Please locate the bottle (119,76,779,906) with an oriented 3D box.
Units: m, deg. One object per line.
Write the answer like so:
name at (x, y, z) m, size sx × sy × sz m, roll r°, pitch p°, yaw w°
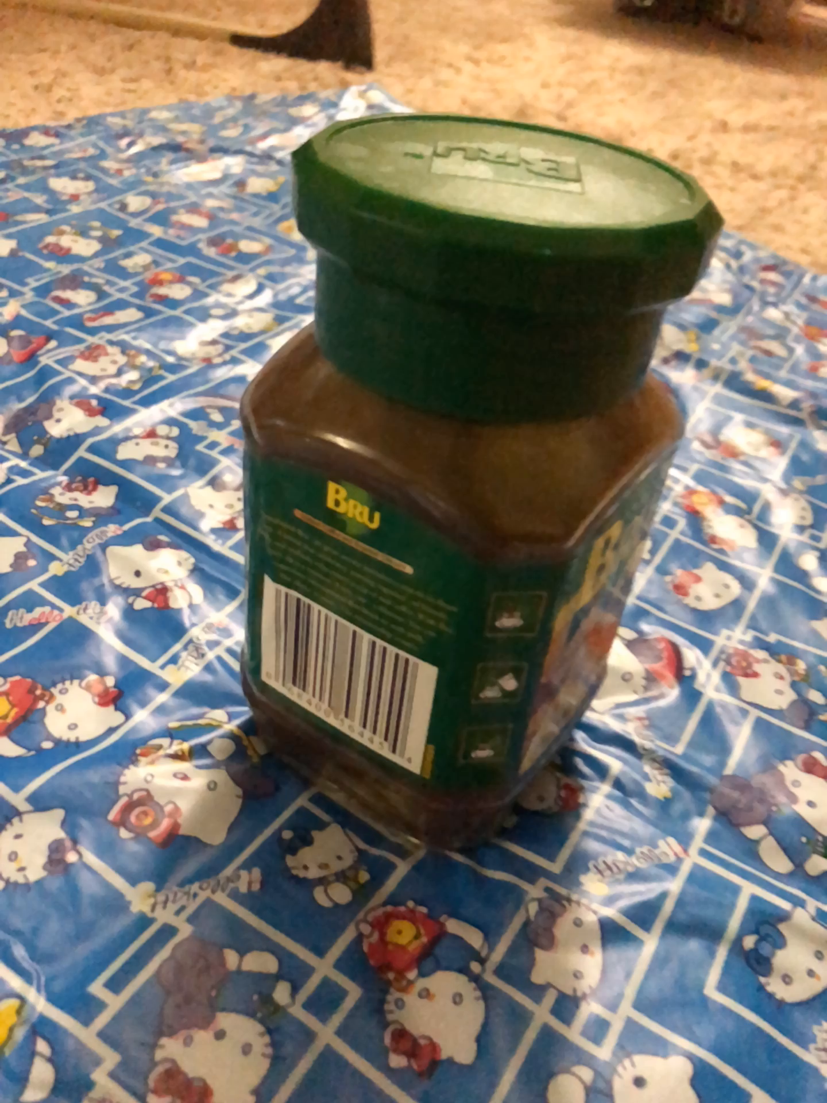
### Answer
bottle at (0.003, -0.014, 0.177) m, size 0.070 × 0.120 × 0.080 m, roll 27°, pitch 40°, yaw 23°
